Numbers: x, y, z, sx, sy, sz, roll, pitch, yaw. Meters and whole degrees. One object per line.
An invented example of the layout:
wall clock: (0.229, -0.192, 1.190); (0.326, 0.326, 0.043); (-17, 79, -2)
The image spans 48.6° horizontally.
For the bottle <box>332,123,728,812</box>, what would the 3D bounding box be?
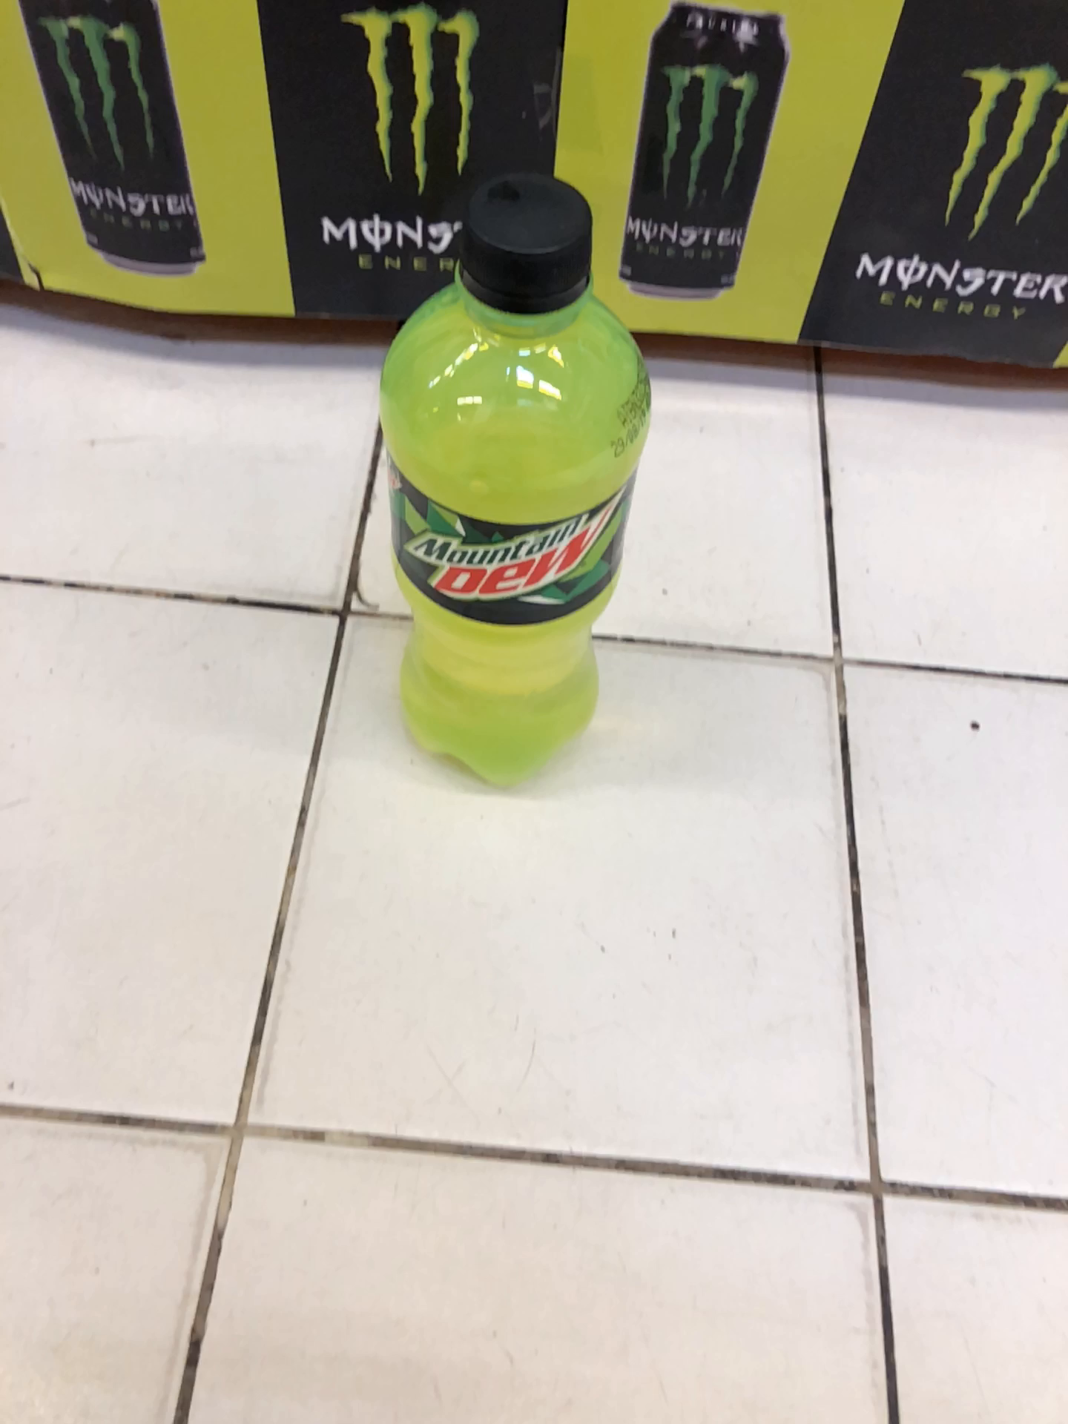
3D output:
bottle: (-0.004, -0.051, 0.341); (0.080, 0.199, 0.070); (5, 58, -1)
